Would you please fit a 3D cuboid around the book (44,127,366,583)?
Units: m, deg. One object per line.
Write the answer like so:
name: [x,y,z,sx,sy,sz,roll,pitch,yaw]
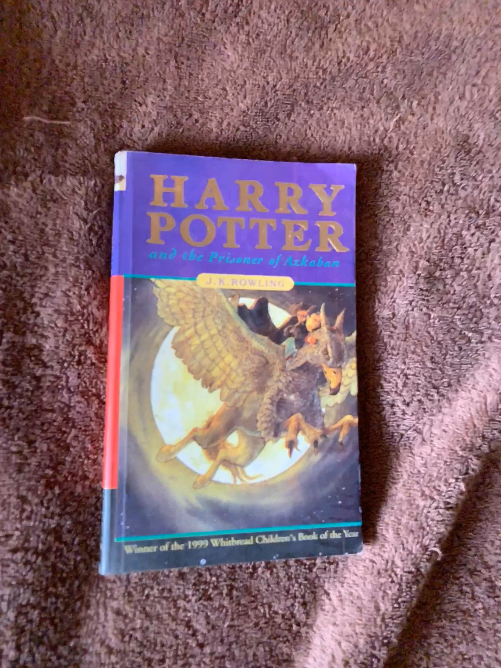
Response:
book: [-0.018,0.006,0.223,0.130,0.020,0.180,0,85,-11]
